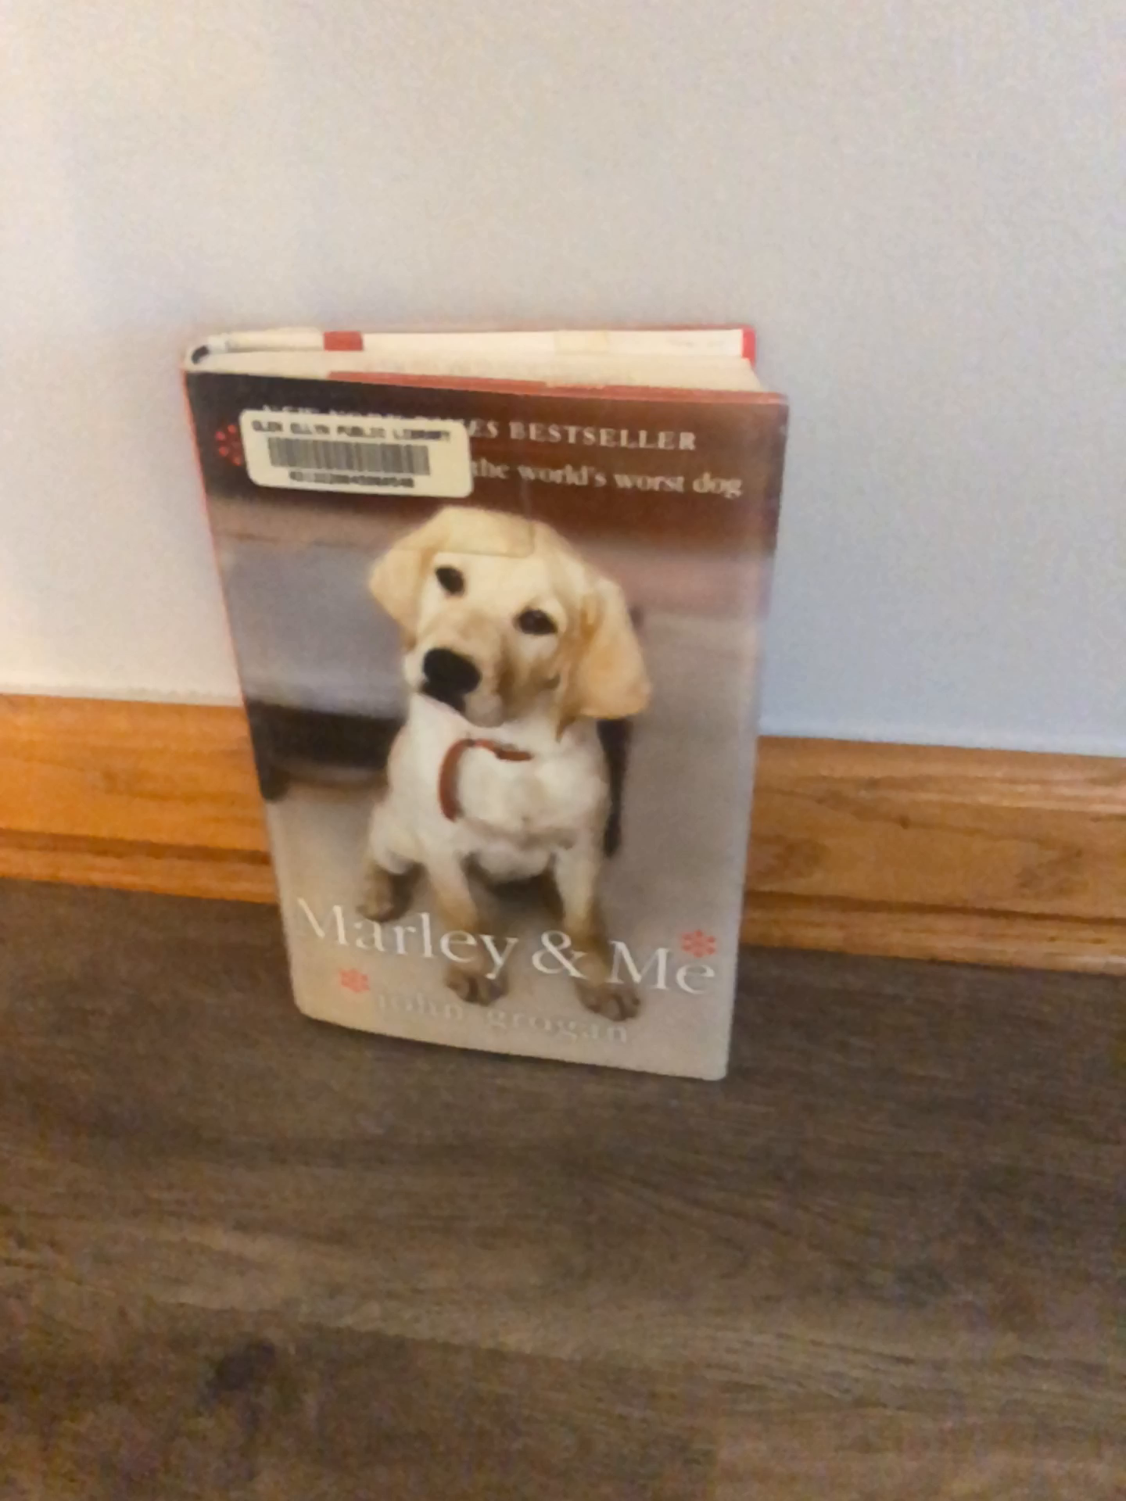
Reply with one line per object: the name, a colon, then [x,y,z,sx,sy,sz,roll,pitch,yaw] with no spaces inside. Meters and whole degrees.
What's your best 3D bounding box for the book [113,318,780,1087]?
book: [-0.022,-0.004,0.355,0.151,0.218,0.040,4,34,10]
